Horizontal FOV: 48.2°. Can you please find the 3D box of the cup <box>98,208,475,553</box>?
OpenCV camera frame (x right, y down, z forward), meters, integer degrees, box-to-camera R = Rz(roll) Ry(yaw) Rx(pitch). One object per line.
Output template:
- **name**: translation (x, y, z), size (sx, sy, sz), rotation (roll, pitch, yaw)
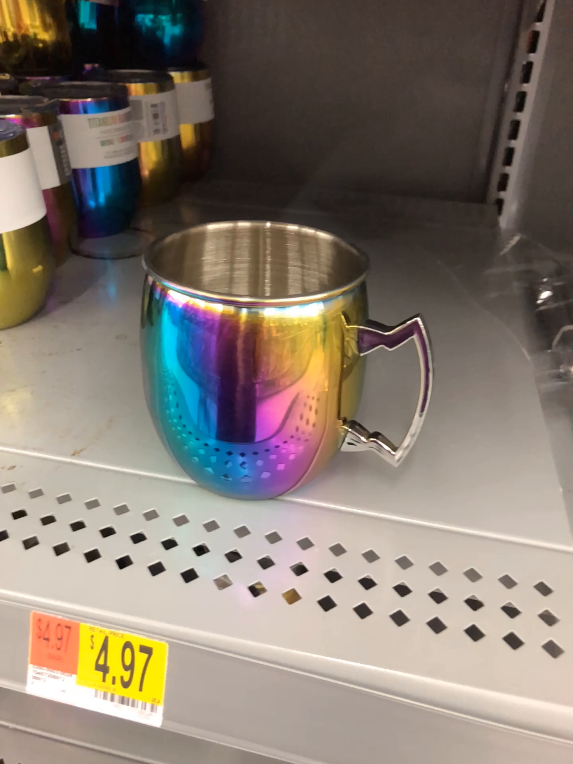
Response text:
- **cup**: translation (0.007, -0.008, 0.289), size (0.133, 0.097, 0.104), rotation (9, 33, 10)
